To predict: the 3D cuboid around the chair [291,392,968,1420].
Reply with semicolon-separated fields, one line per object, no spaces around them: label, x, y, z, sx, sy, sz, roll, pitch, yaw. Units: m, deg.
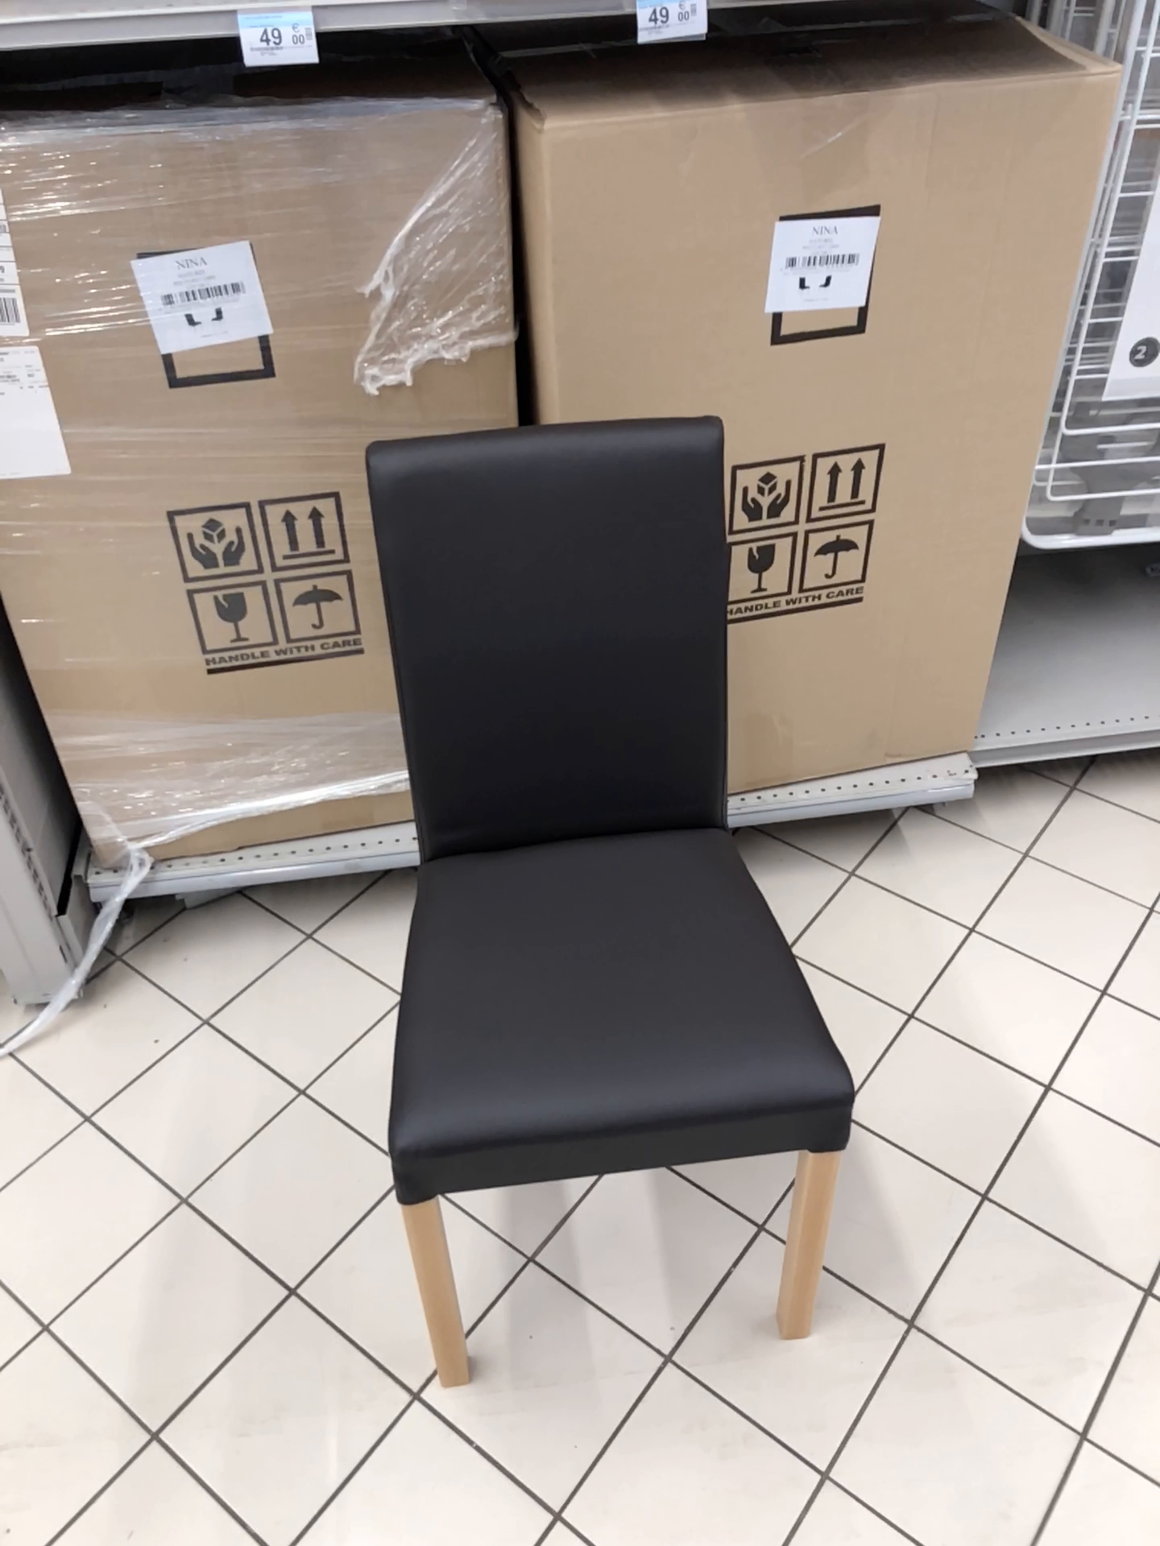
chair;0.004;0.151;1.331;0.450;0.855;0.593;-7;41;-6
